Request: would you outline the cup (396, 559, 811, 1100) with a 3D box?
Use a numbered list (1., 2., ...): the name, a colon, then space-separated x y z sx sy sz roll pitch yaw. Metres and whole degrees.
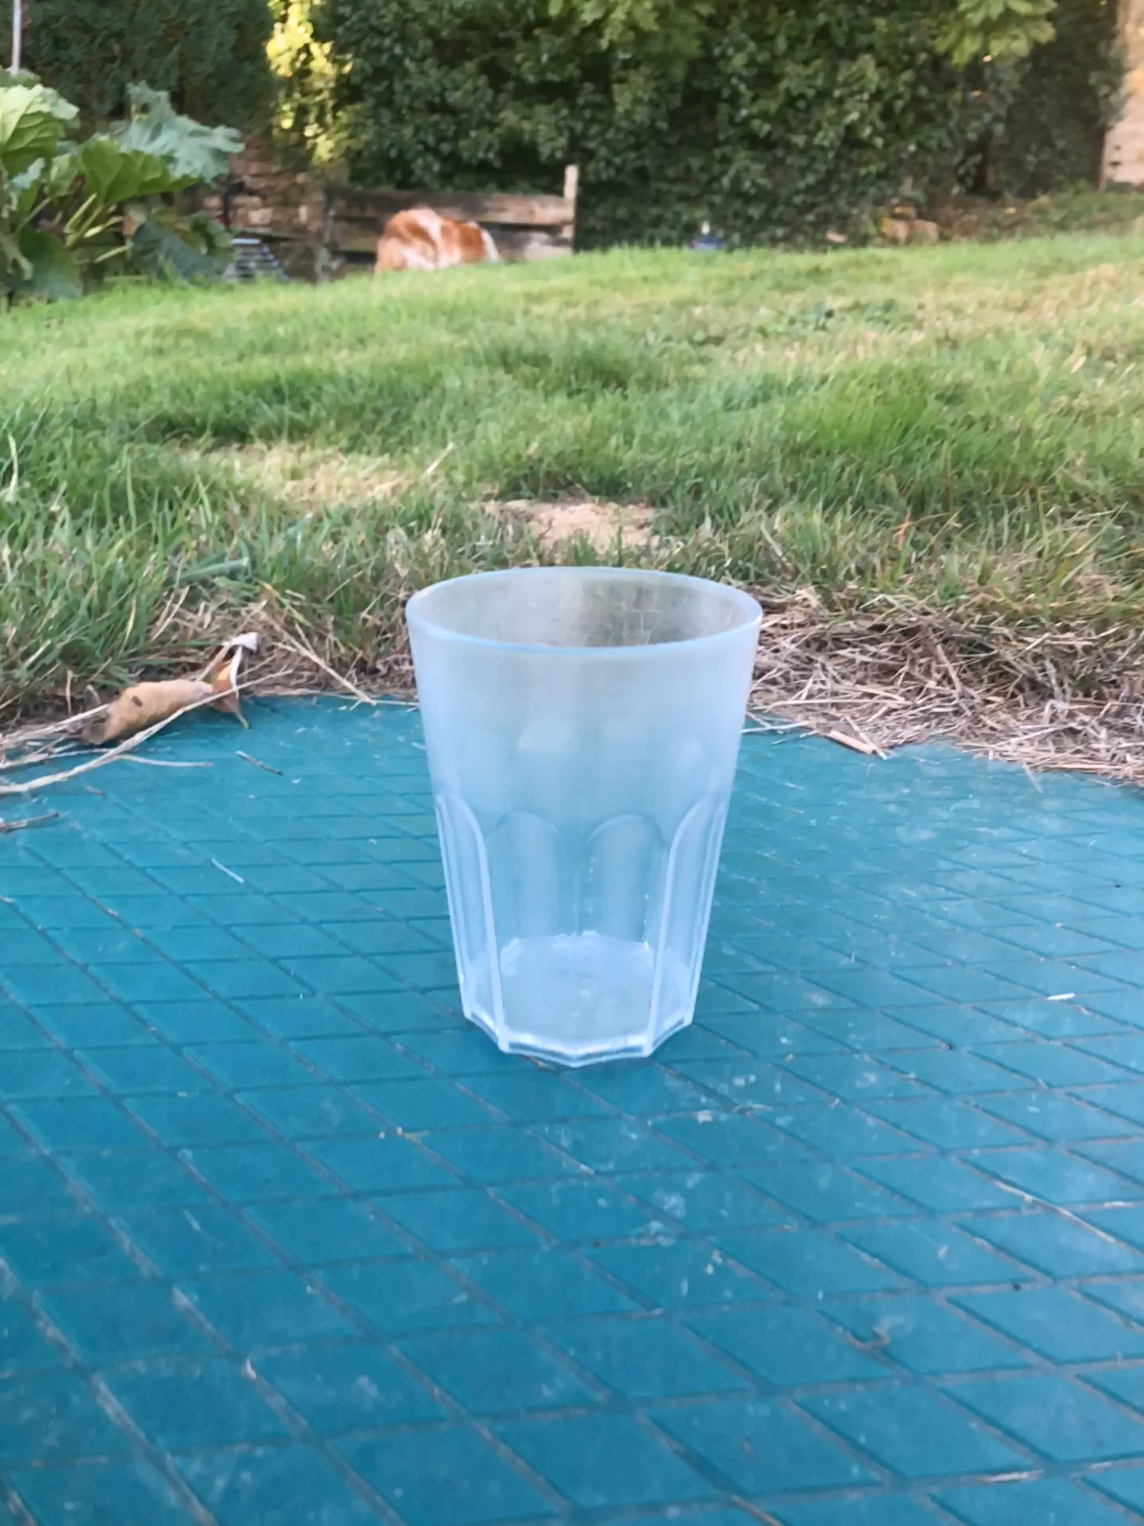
1. cup: 0.006 0.012 0.326 0.087 0.113 0.092 0 19 0
